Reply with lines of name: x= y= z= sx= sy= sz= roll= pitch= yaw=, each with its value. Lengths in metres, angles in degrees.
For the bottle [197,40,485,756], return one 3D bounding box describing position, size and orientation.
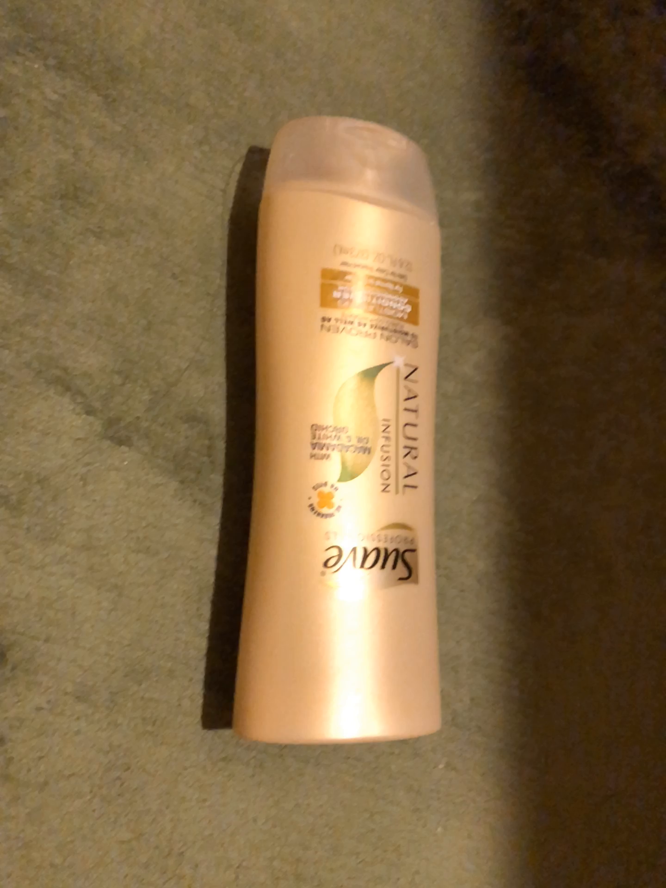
bottle: x=0.005 y=-0.015 z=0.261 sx=0.080 sy=0.050 sz=0.220 roll=6 pitch=80 yaw=-24
